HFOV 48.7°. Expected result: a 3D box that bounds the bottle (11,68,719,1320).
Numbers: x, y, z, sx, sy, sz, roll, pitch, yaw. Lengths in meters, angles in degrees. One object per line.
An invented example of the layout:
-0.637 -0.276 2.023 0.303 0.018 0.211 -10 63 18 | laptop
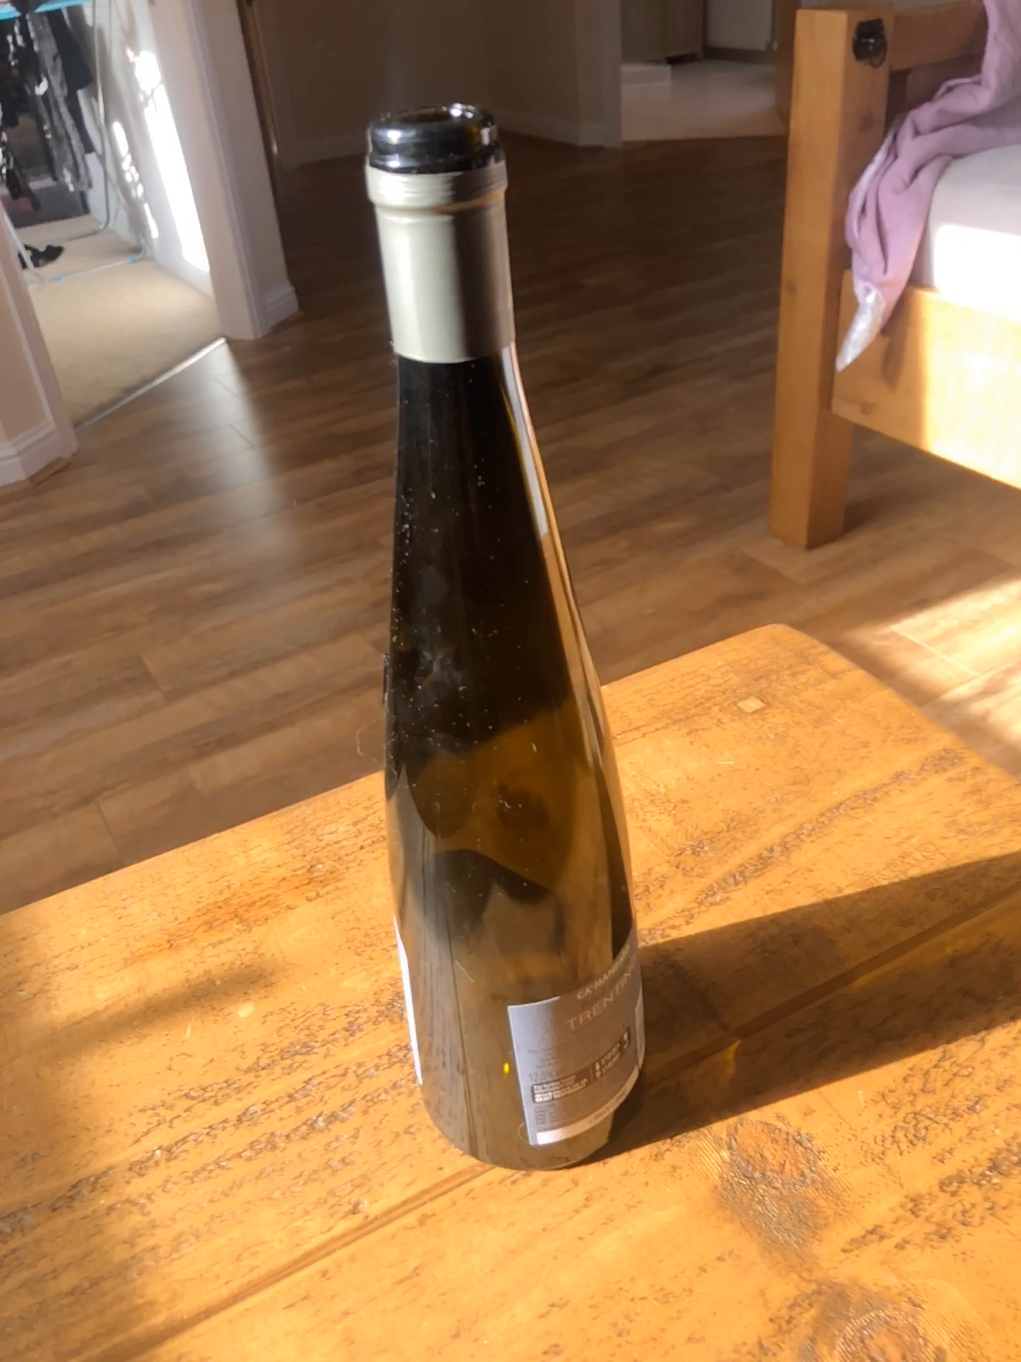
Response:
-0.012 0.025 0.320 0.100 0.337 0.101 -4 35 3 | bottle
